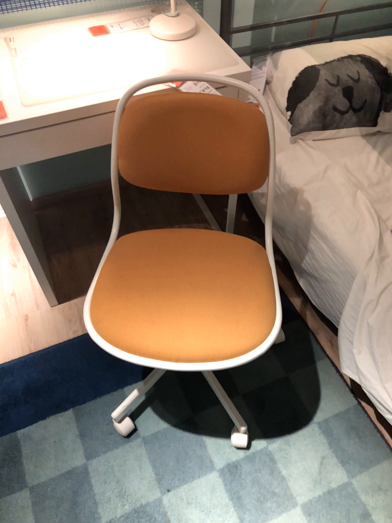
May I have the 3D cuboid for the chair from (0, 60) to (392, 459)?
[{"bbox_3d":[-0.005,0.053,1.047,0.610,0.795,0.563,3,52,2],"label":"chair"}]
